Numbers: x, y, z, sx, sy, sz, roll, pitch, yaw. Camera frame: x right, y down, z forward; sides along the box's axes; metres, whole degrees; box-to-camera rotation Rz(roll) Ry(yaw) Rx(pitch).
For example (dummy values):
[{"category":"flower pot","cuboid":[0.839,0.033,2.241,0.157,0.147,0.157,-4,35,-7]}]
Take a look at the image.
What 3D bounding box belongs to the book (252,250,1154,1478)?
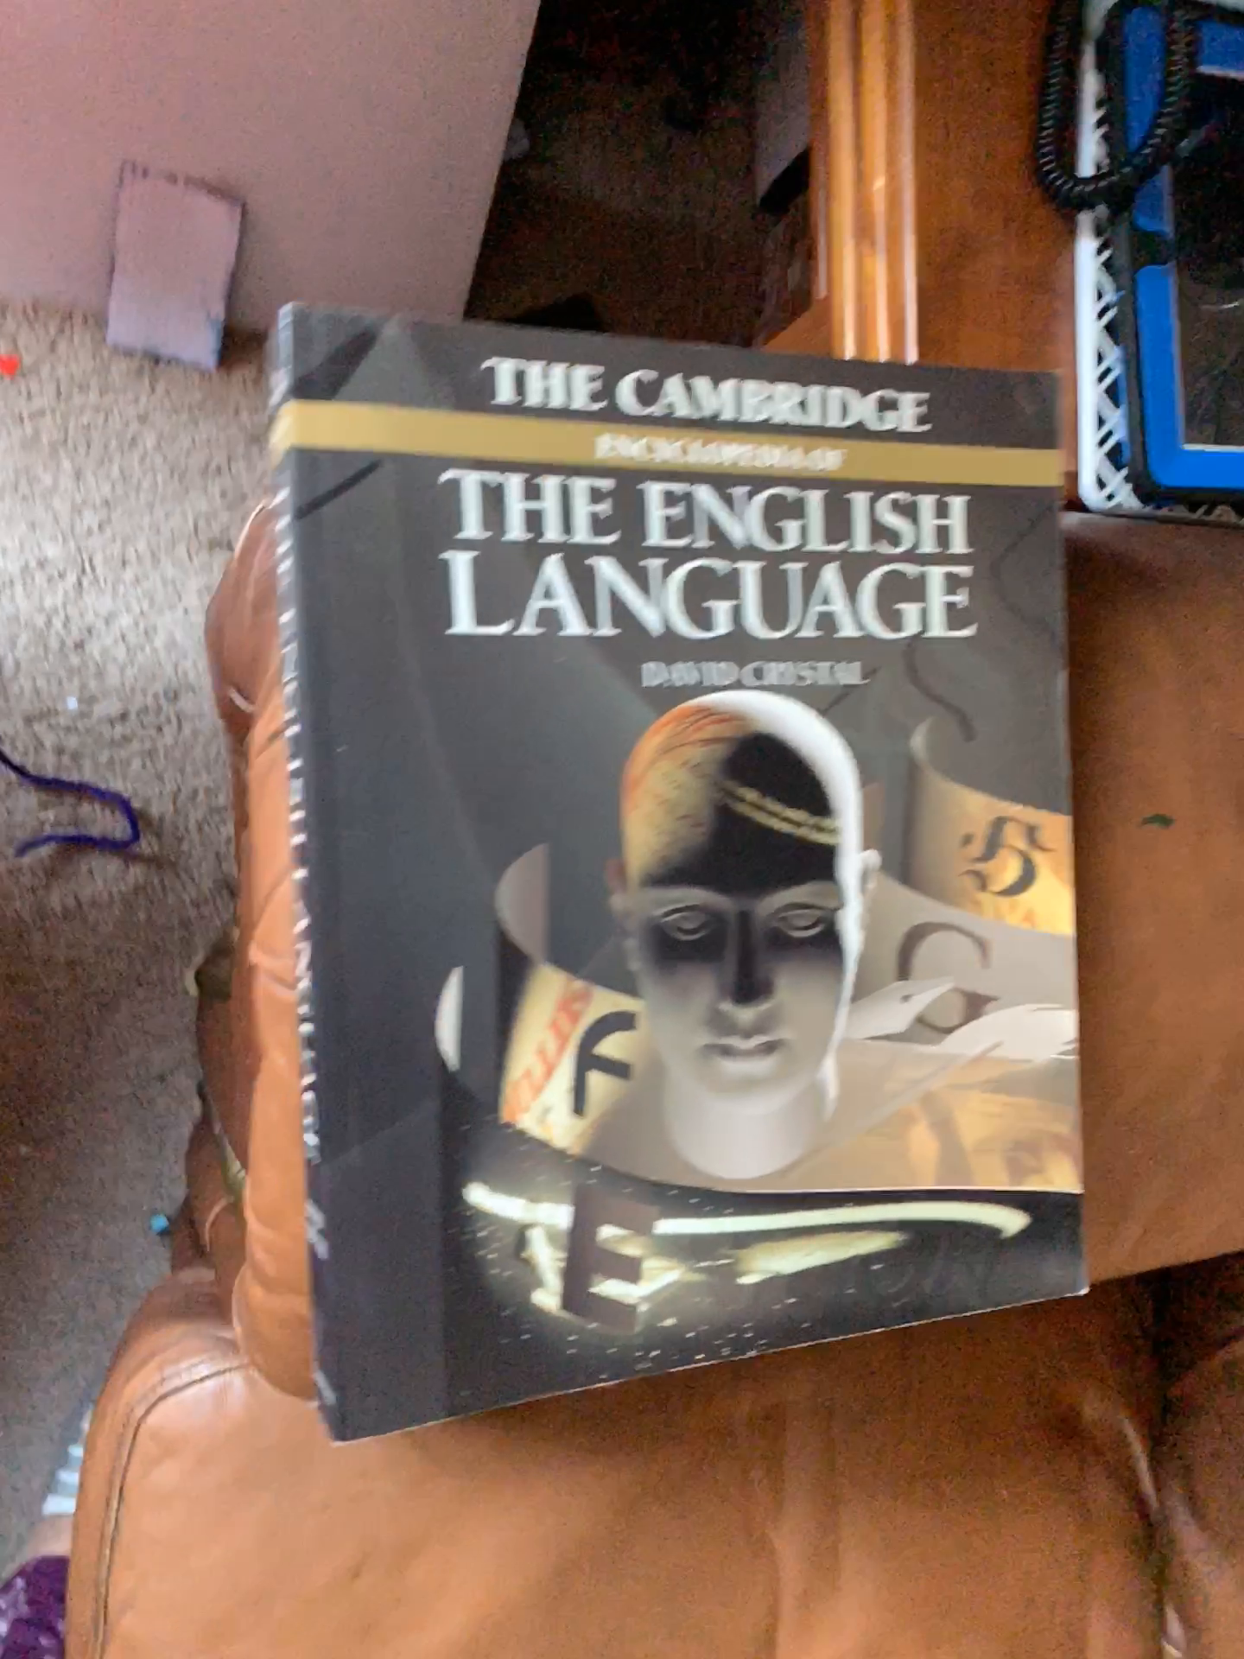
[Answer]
[{"category":"book","cuboid":[0.030,0.003,0.358,0.240,0.050,0.280,-3,90,-21]}]
